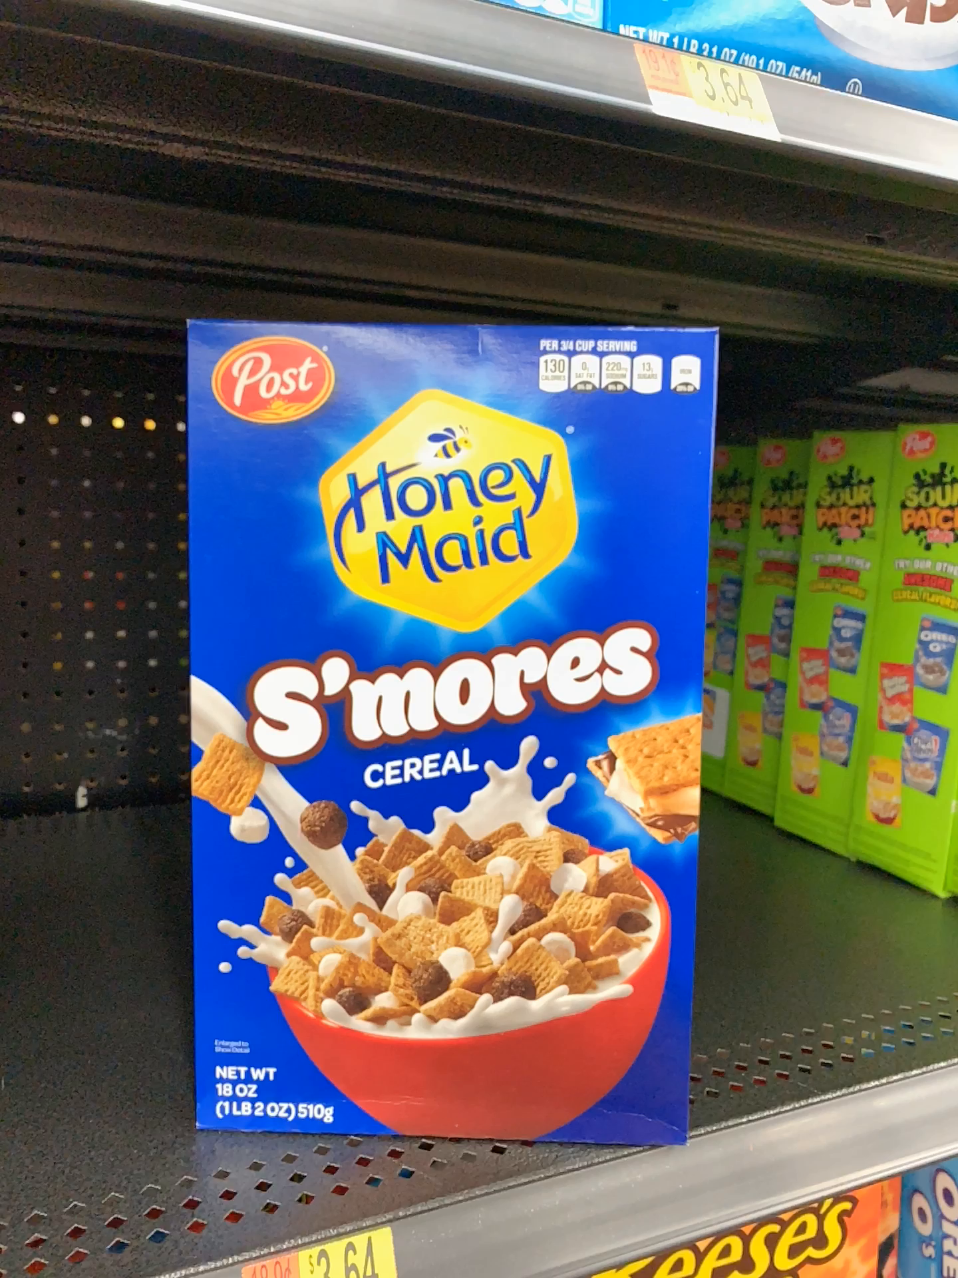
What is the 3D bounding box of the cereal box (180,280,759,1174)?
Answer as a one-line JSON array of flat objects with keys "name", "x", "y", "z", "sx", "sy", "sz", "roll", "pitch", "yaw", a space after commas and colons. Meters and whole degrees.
[{"name": "cereal box", "x": -0.007, "y": 0.034, "z": 0.394, "sx": 0.200, "sy": 0.320, "sz": 0.070, "roll": 2, "pitch": 5, "yaw": 1}]
